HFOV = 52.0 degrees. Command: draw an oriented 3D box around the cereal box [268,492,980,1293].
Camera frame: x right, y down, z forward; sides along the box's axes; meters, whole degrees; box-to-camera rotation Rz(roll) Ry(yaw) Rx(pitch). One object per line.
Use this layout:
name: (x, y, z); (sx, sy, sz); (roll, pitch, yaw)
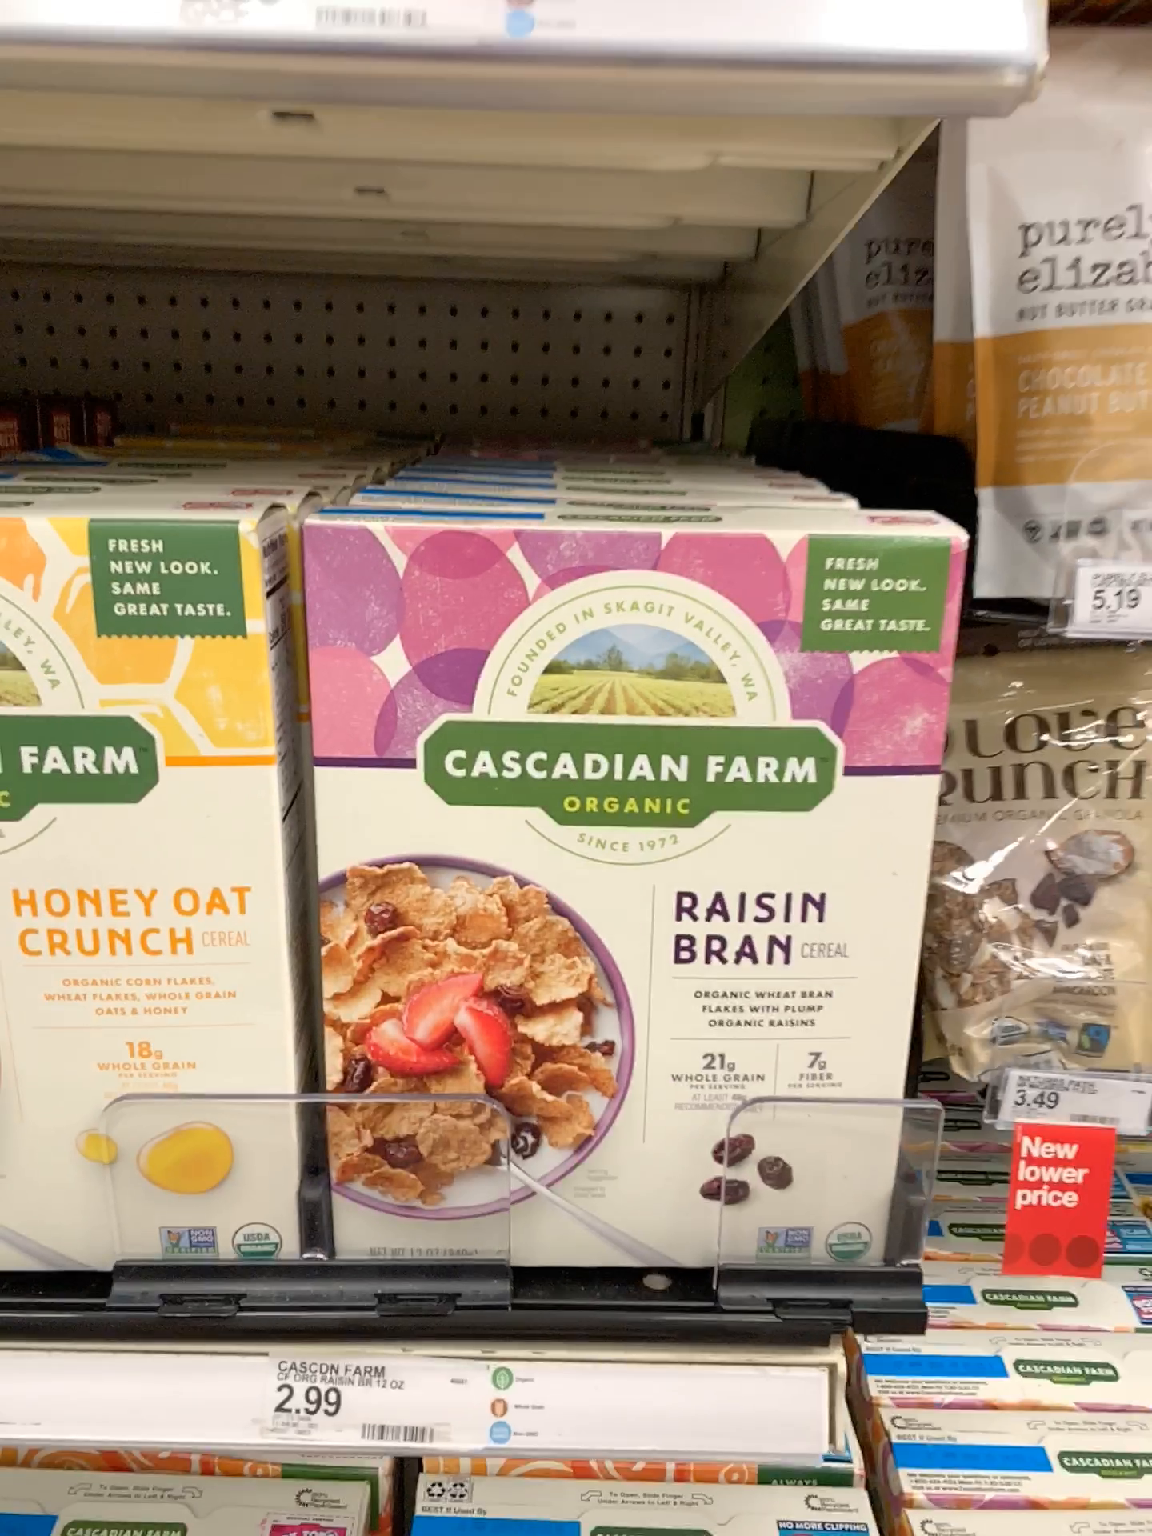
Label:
cereal box: (0.009, 0.050, 0.398); (0.200, 0.269, 0.050); (1, 19, -2)
